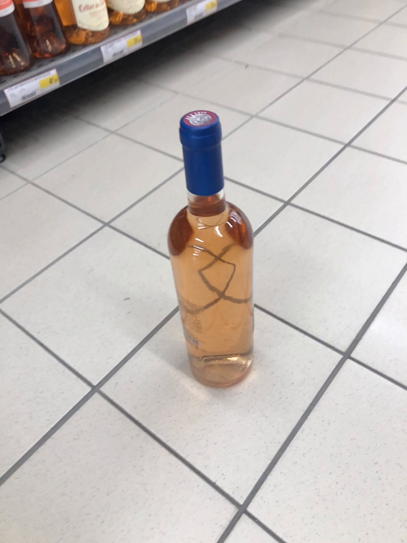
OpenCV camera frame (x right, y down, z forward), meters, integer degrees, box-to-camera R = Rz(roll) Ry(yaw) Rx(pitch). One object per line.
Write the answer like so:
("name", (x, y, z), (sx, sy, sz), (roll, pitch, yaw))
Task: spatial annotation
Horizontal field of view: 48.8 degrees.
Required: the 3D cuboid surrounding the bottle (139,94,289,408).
("bottle", (0.014, 0.005, 0.406), (0.080, 0.288, 0.080), (-3, 45, 3))
